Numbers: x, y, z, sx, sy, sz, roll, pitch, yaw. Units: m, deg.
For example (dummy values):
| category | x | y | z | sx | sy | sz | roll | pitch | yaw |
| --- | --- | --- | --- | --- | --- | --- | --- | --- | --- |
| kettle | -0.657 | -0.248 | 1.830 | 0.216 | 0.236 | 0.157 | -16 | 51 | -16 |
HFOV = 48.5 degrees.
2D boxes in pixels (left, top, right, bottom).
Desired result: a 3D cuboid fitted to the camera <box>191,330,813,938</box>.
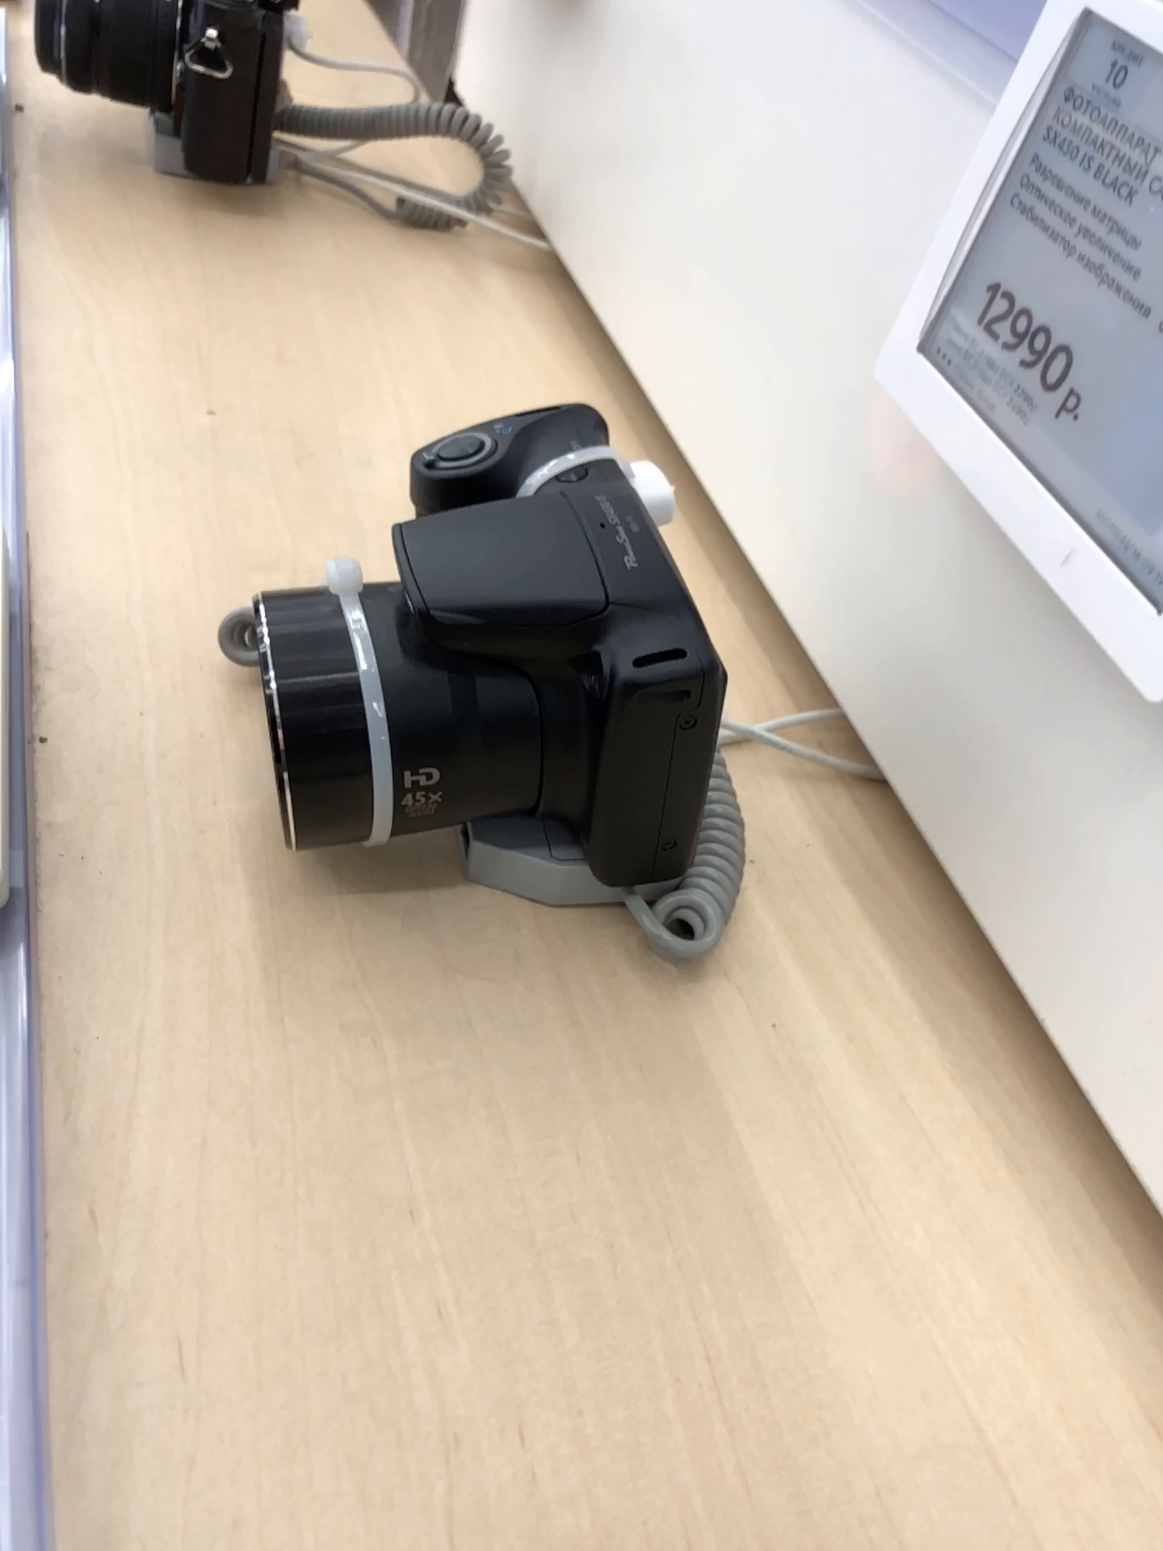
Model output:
| category | x | y | z | sx | sy | sz | roll | pitch | yaw |
| --- | --- | --- | --- | --- | --- | --- | --- | --- | --- |
| camera | -0.026 | -0.035 | 0.281 | 0.093 | 0.062 | 0.117 | -3 | 46 | -25 |
